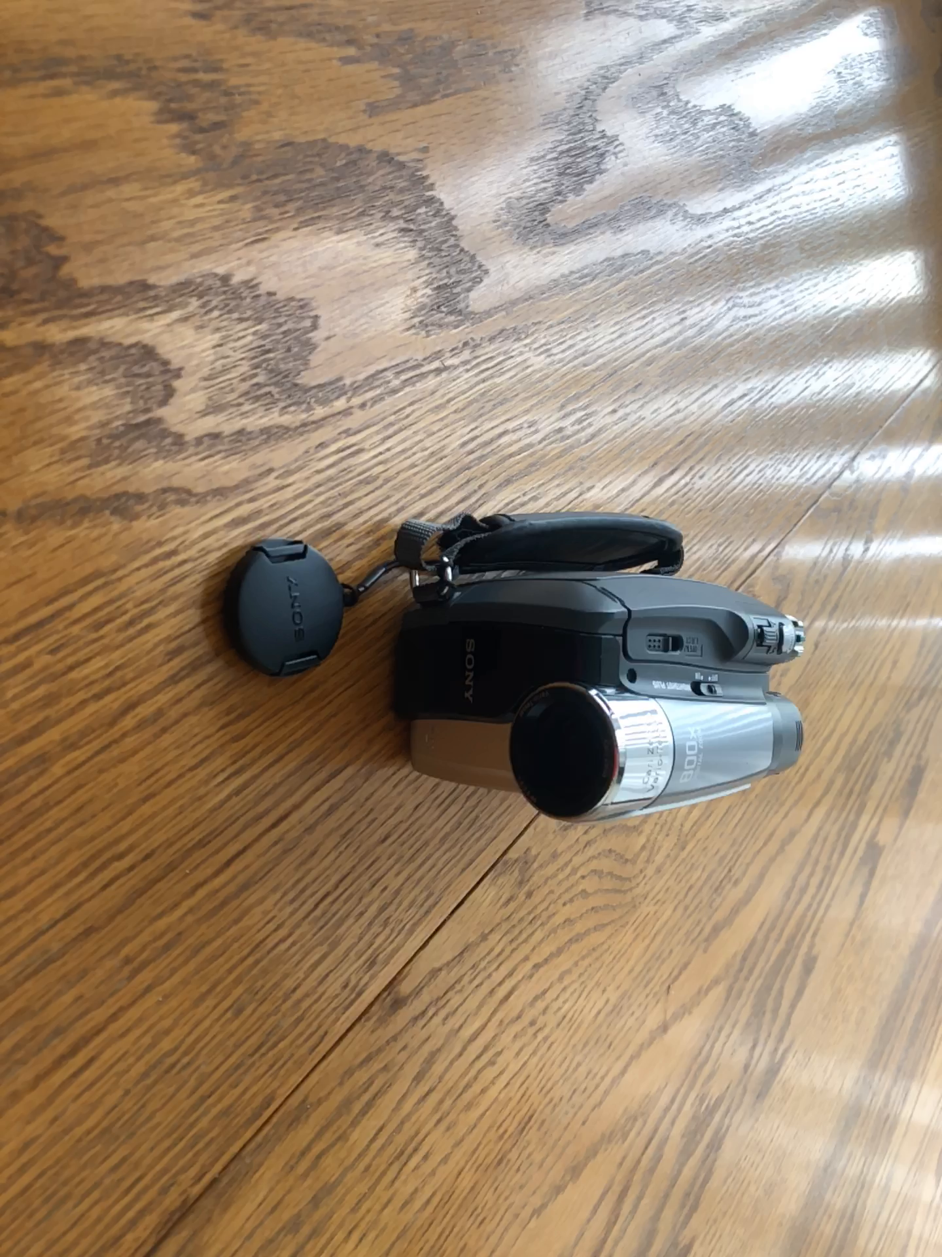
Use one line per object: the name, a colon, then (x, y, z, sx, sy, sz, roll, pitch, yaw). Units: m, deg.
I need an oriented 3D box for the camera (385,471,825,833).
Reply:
camera: (0.042, 0.005, 0.295, 0.112, 0.072, 0.080, 1, 90, -49)
